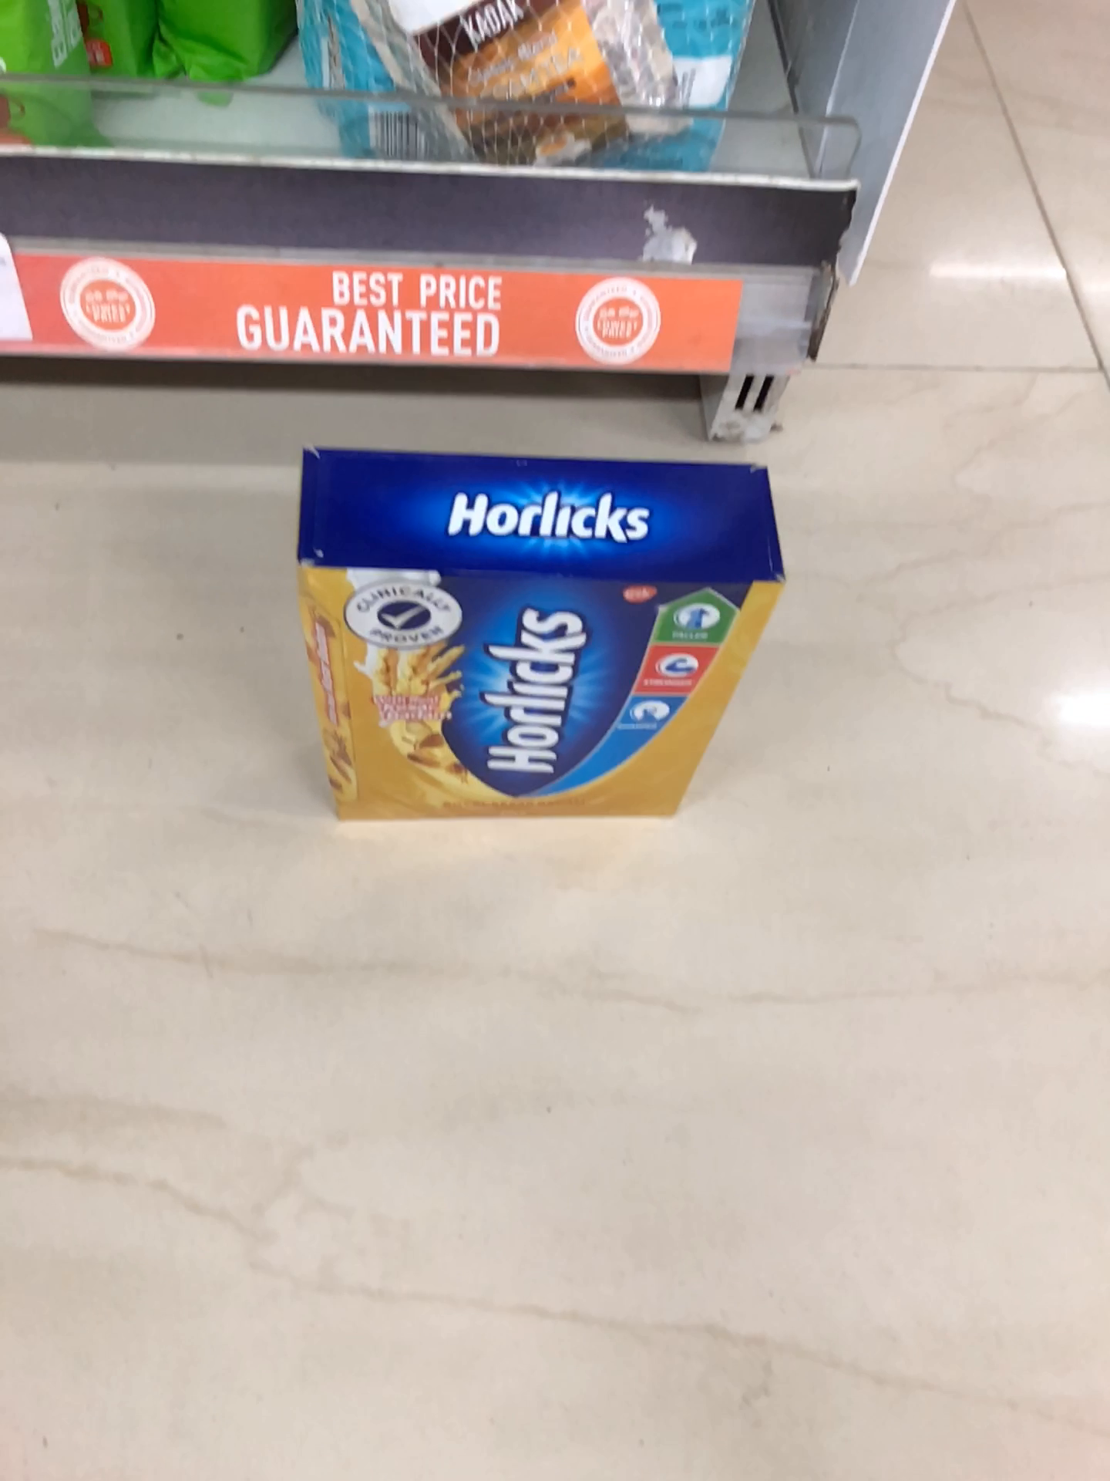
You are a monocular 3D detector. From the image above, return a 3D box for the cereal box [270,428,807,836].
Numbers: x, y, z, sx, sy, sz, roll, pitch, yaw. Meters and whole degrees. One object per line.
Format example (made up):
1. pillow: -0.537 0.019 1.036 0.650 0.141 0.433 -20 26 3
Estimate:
1. cereal box: -0.013 -0.027 0.430 0.150 0.179 0.050 -1 62 -7
